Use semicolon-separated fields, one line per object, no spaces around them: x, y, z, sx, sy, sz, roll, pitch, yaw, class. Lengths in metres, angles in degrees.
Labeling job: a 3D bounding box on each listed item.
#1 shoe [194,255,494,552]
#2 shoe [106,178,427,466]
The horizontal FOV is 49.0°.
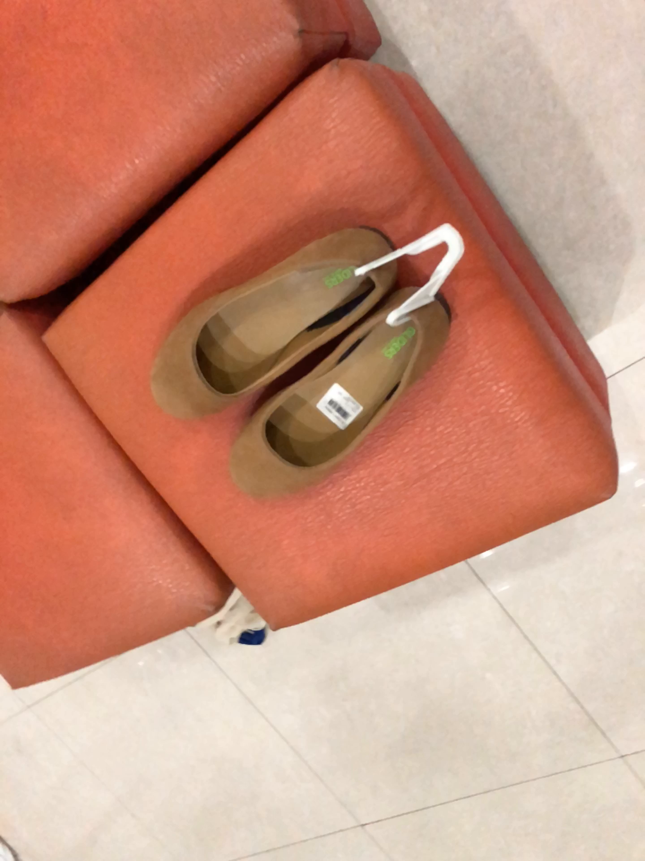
0.011;-0.014;0.638;0.094;0.070;0.288;43;122;-5;shoe
-0.057;-0.086;0.626;0.288;0.070;0.097;-33;100;30;shoe
